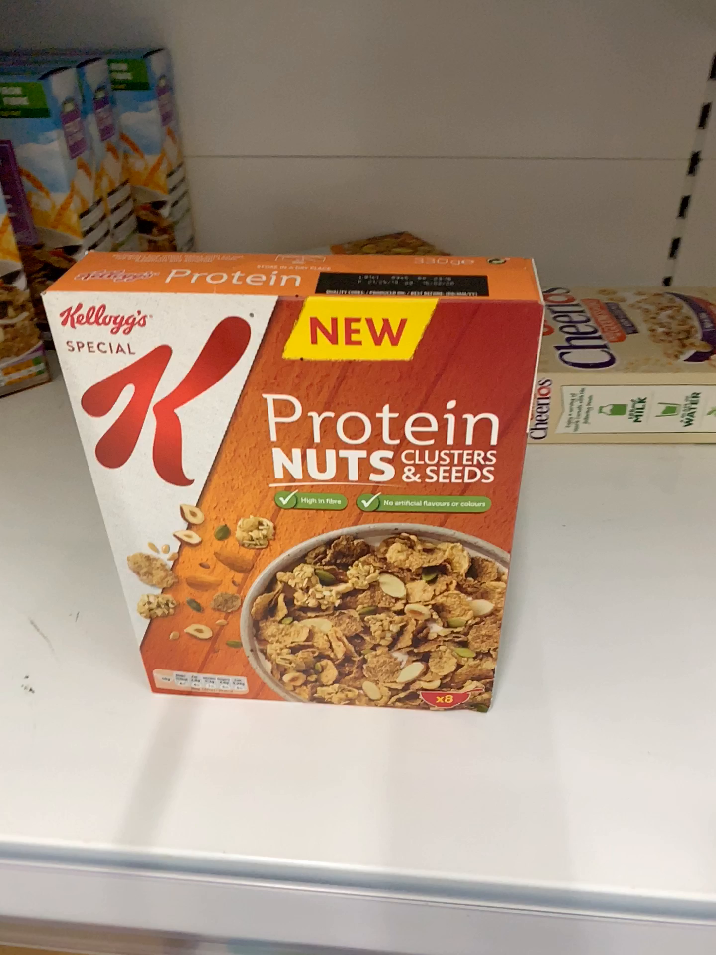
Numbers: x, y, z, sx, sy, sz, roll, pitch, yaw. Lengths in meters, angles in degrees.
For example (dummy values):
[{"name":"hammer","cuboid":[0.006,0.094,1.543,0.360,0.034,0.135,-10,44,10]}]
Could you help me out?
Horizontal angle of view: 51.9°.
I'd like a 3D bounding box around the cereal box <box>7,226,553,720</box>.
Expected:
[{"name":"cereal box","cuboid":[-0.026,0.008,0.363,0.200,0.238,0.071,2,35,5]}]
